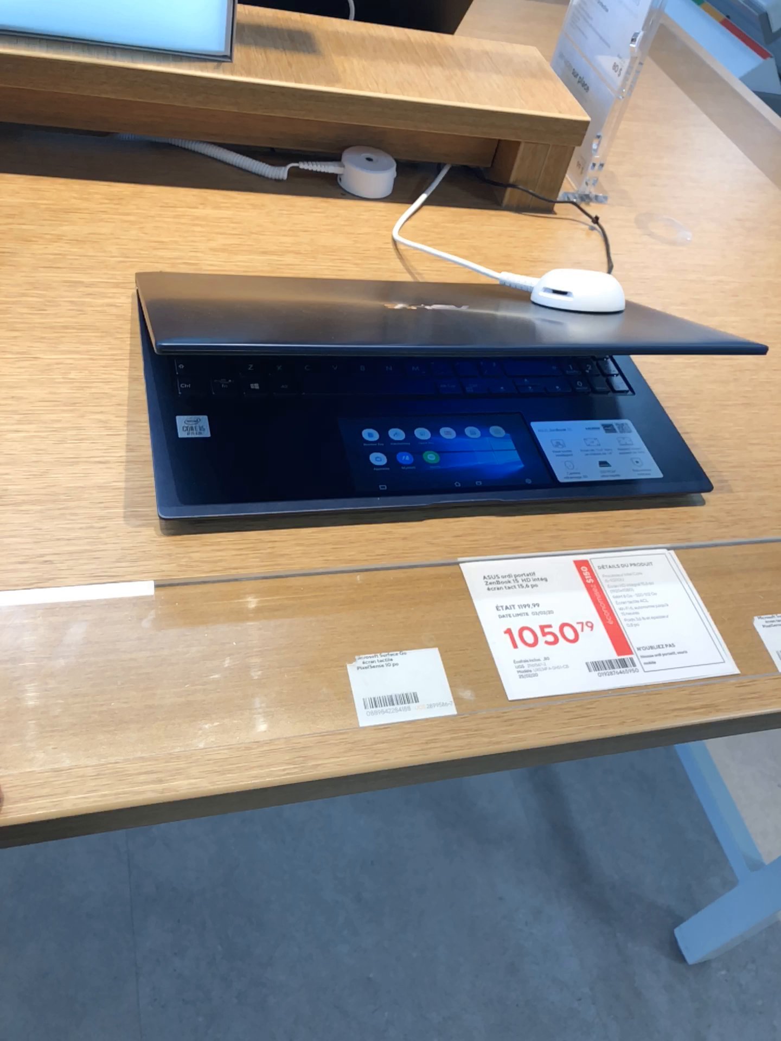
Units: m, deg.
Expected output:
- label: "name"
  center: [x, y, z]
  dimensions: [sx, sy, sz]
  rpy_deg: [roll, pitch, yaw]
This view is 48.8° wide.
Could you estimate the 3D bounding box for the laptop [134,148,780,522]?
- label: "laptop"
  center: [0.029, -0.120, 0.535]
  dimensions: [0.352, 0.098, 0.209]
  rpy_deg: [-3, 49, -19]
